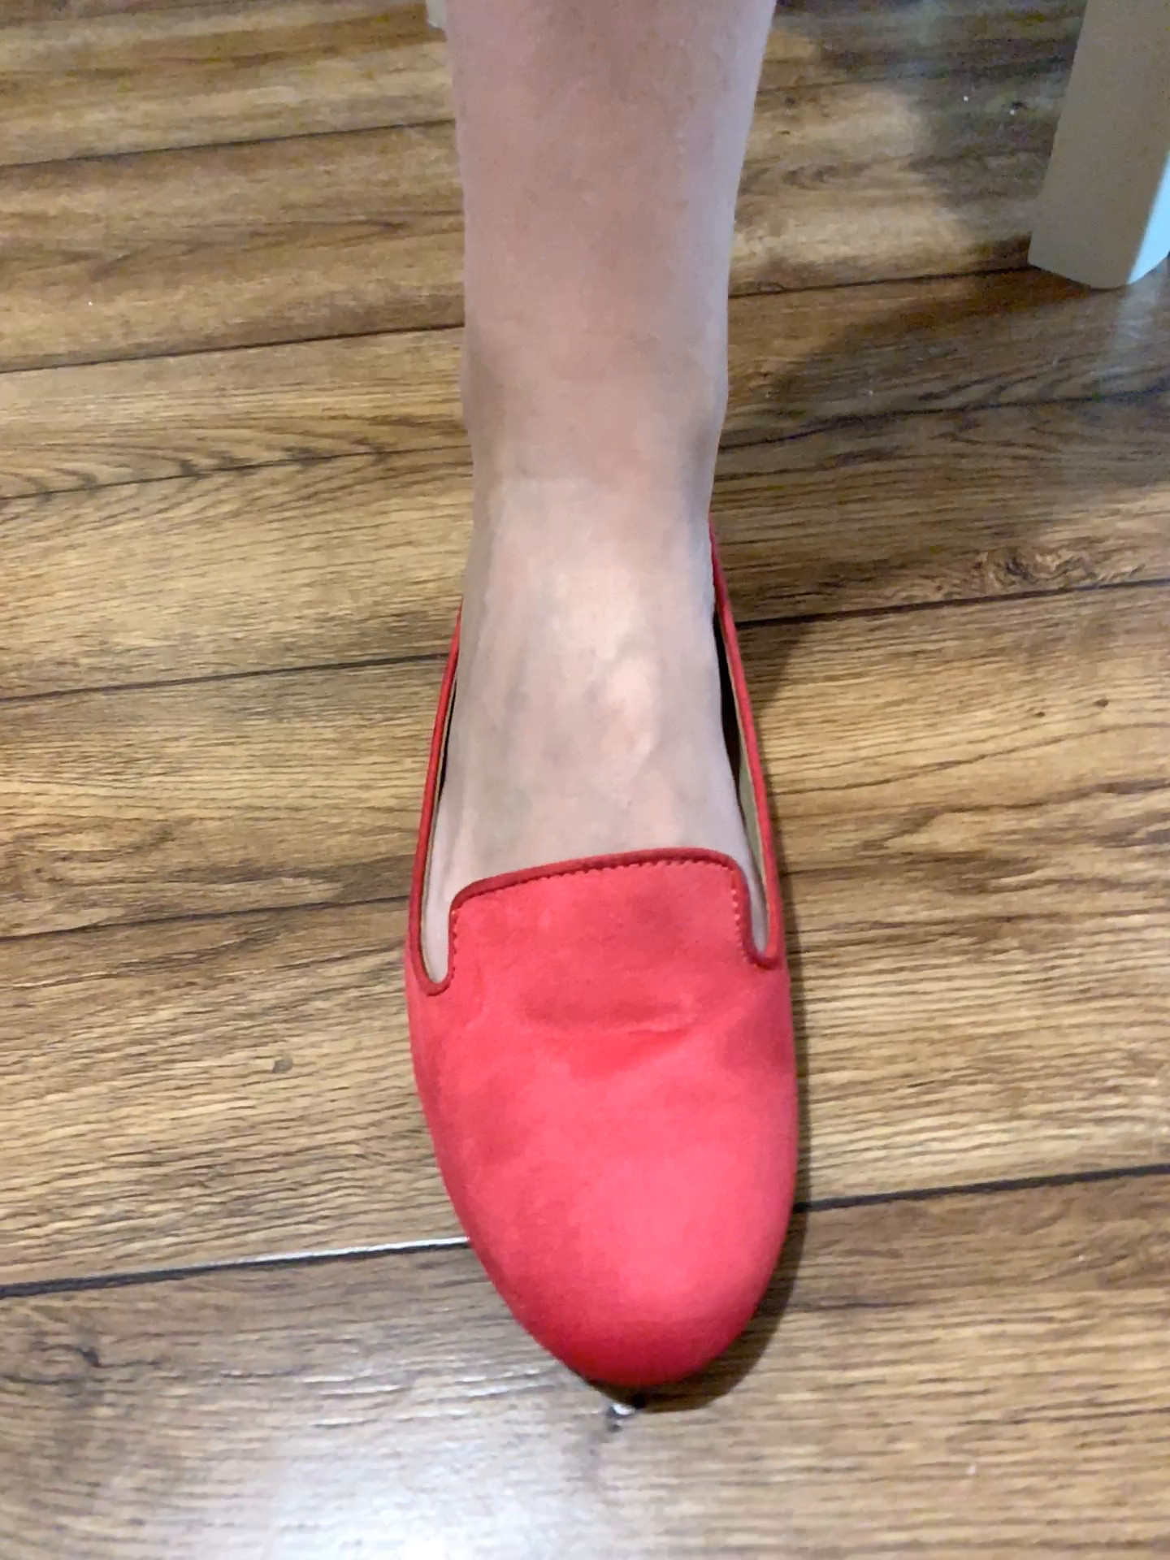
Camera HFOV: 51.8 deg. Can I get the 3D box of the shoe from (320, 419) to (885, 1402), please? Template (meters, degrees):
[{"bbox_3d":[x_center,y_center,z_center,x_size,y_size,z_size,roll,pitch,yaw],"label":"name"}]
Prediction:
[{"bbox_3d":[0.004,0.013,0.275,0.086,0.060,0.221,-3,53,3],"label":"shoe"}]
